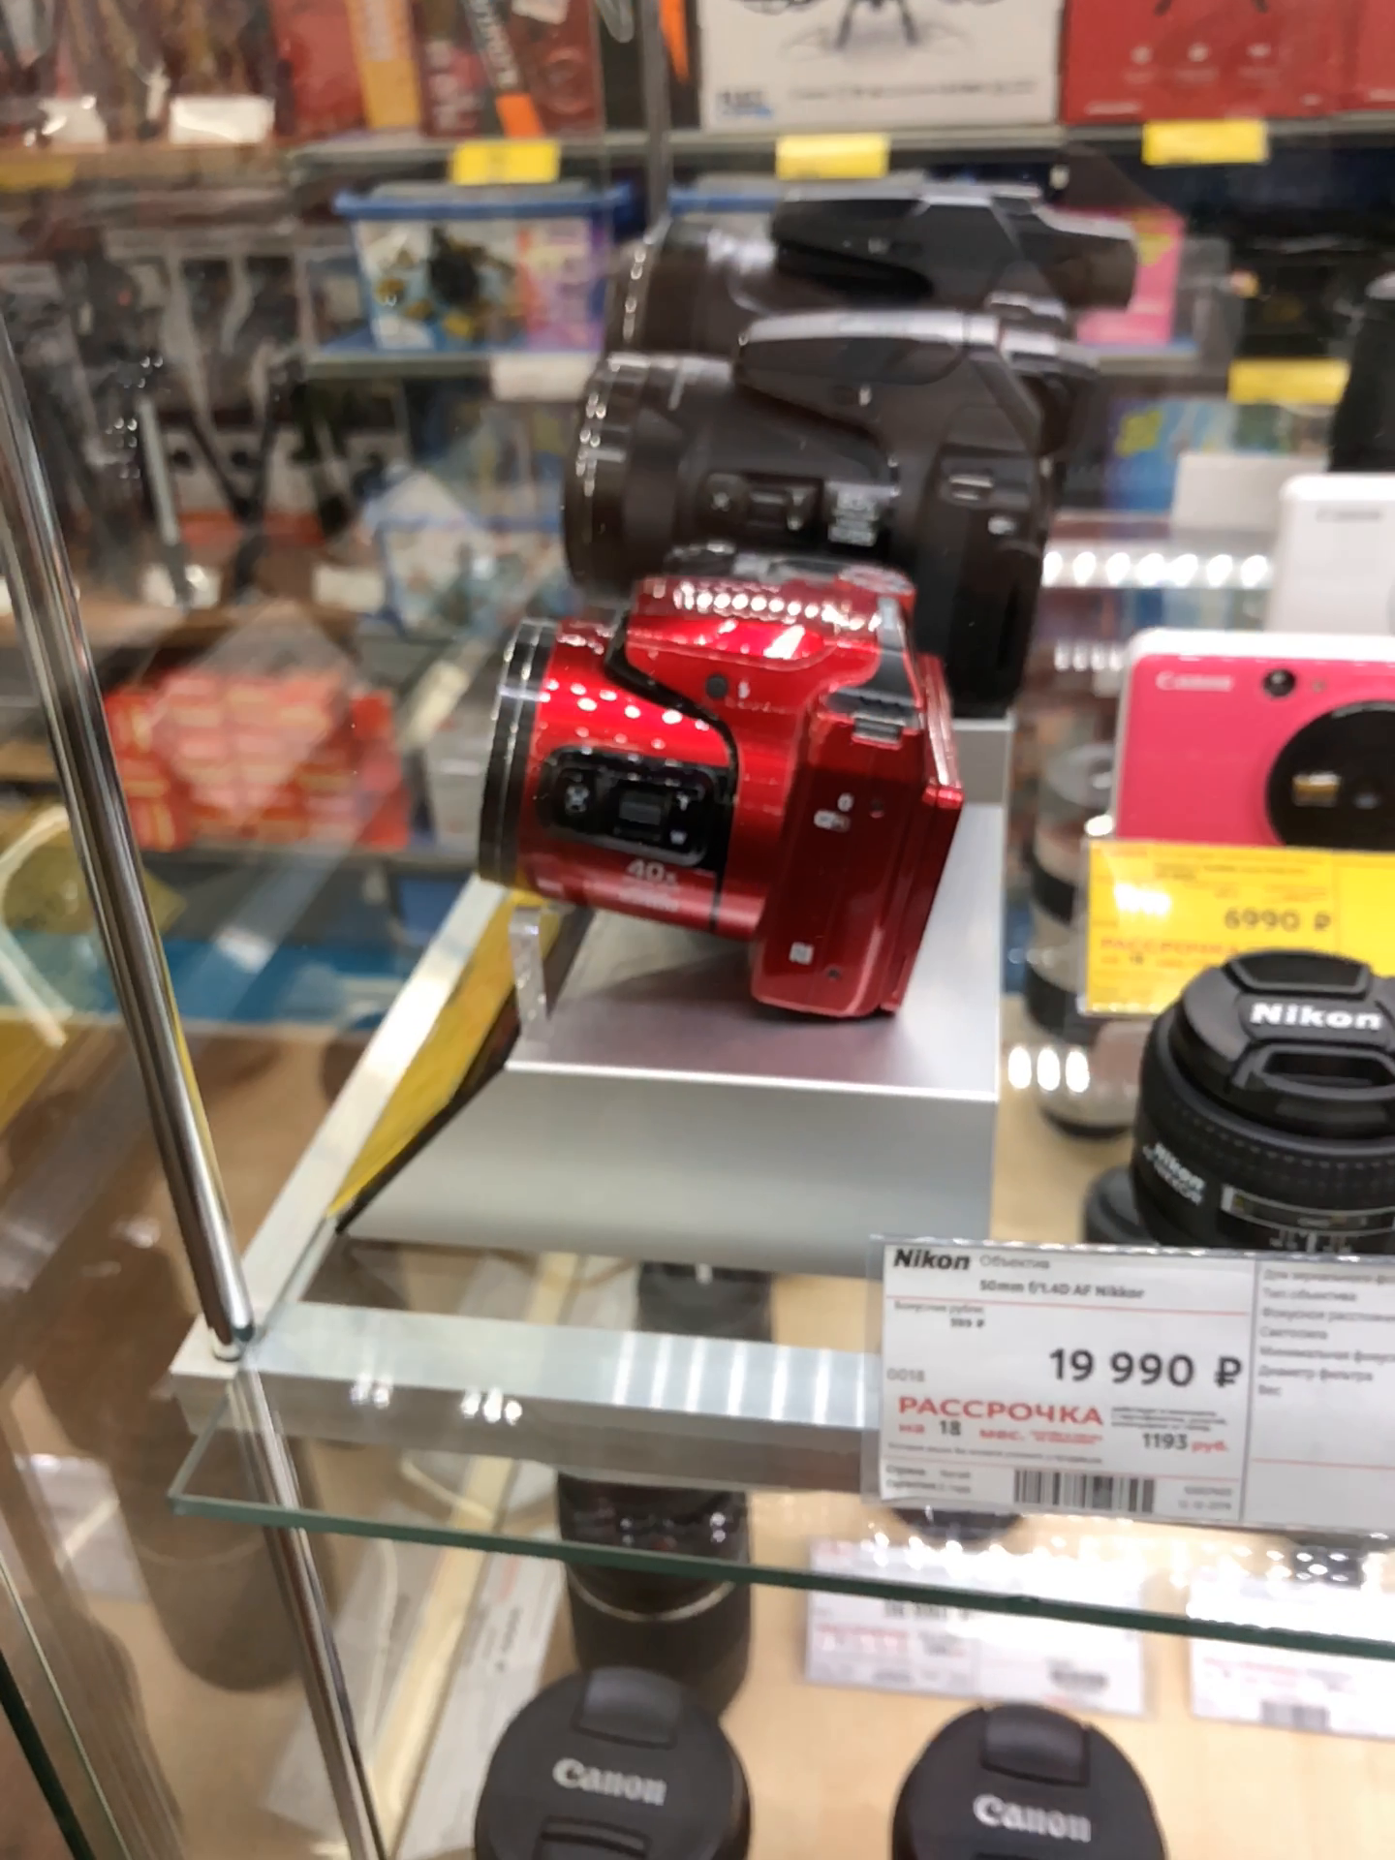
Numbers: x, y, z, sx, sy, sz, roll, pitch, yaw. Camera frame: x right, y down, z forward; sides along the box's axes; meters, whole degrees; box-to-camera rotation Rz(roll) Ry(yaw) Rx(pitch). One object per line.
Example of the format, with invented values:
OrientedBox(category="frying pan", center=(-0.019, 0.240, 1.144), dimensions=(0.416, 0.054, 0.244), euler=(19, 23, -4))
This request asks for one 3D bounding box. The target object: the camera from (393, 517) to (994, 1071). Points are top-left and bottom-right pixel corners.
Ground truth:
OrientedBox(category="camera", center=(0.009, -0.038, 0.359), dimensions=(0.110, 0.076, 0.121), euler=(3, 31, 10))
